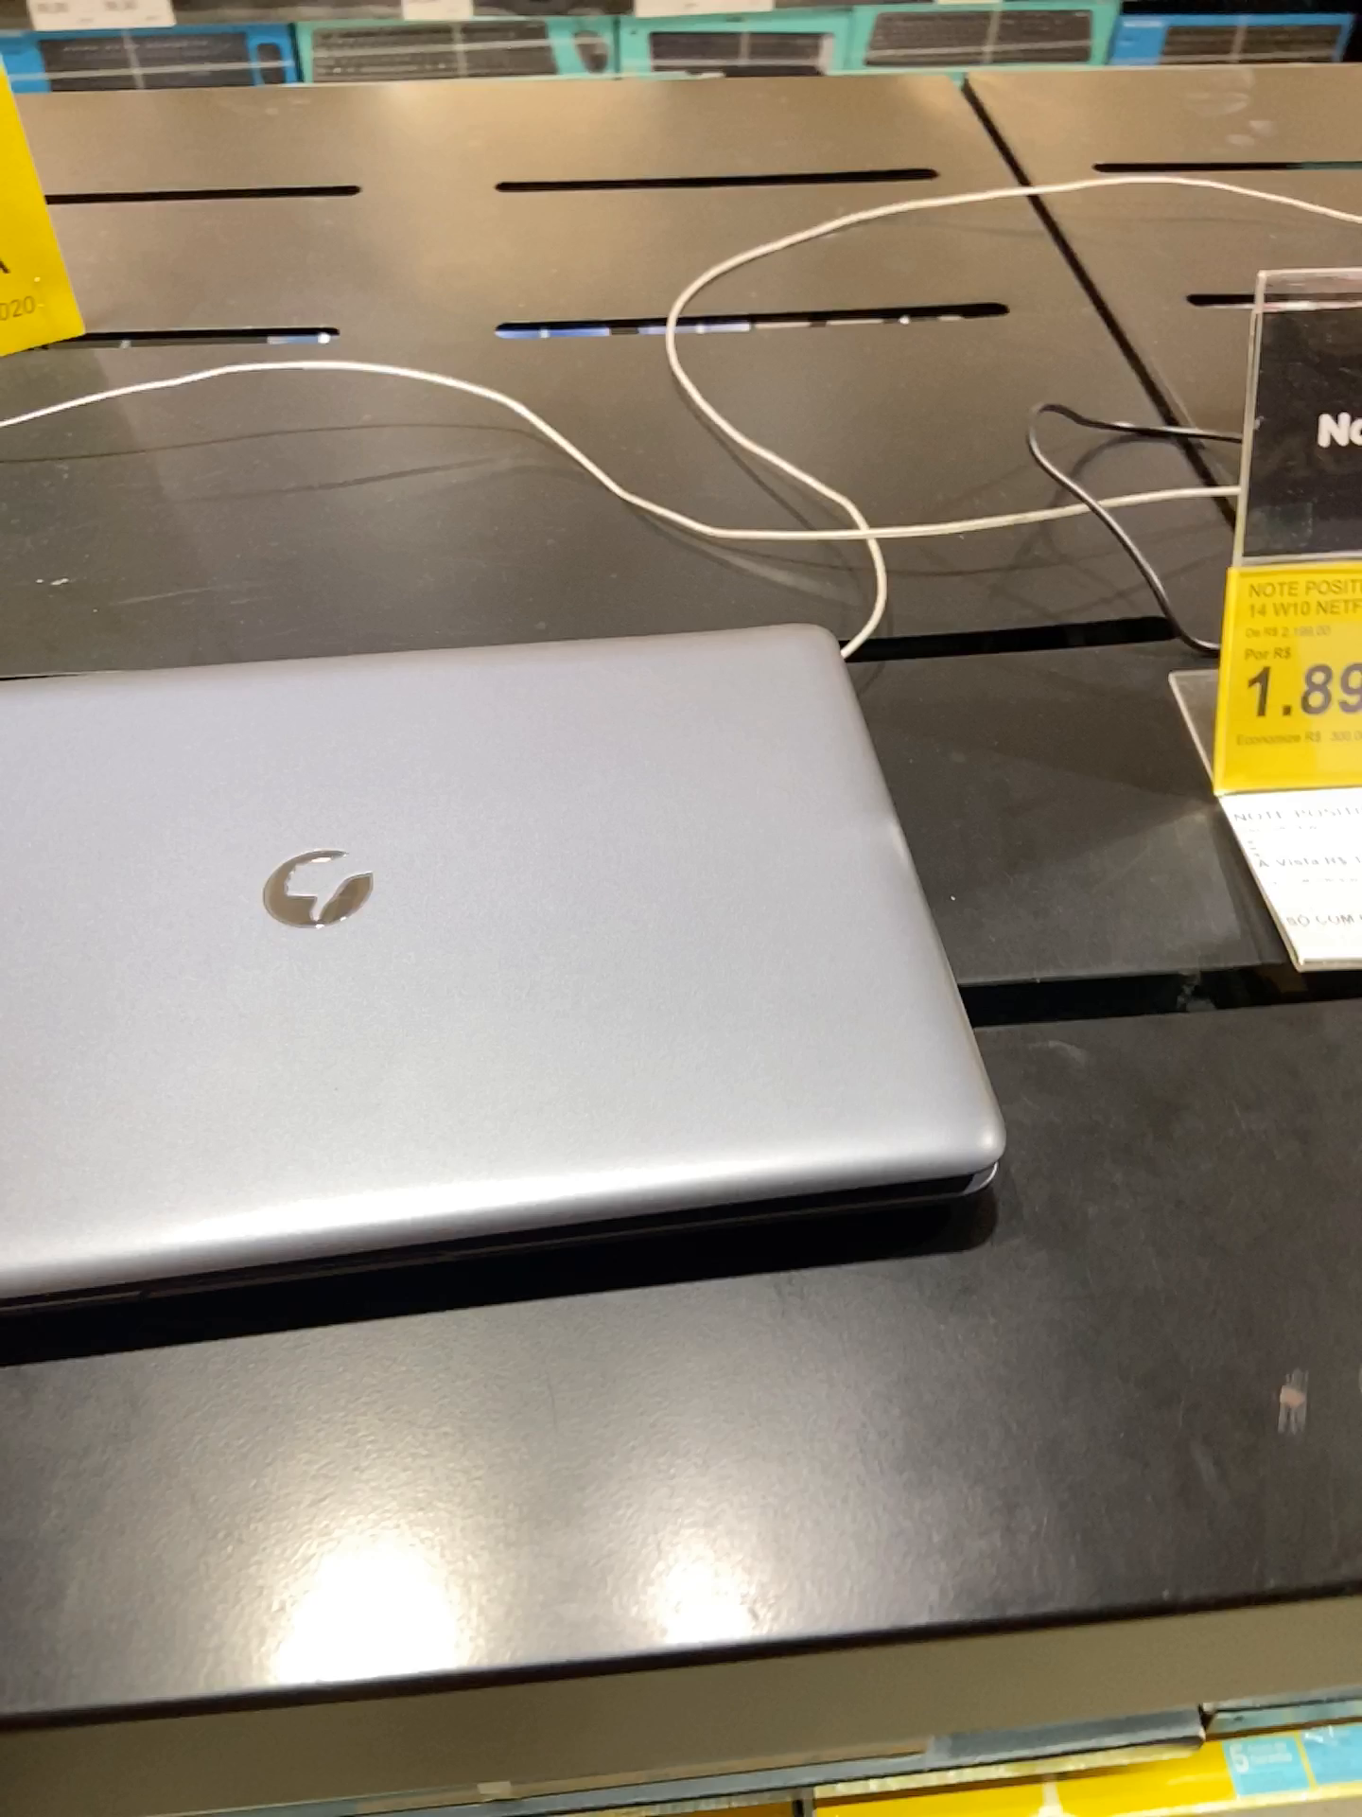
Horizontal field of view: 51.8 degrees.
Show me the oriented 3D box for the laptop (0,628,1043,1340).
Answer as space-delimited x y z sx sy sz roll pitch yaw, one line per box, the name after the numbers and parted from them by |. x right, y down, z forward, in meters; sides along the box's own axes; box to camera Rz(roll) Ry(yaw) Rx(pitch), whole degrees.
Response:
-0.091 -0.001 0.385 0.329 0.001 0.214 -5 47 -5 | laptop
